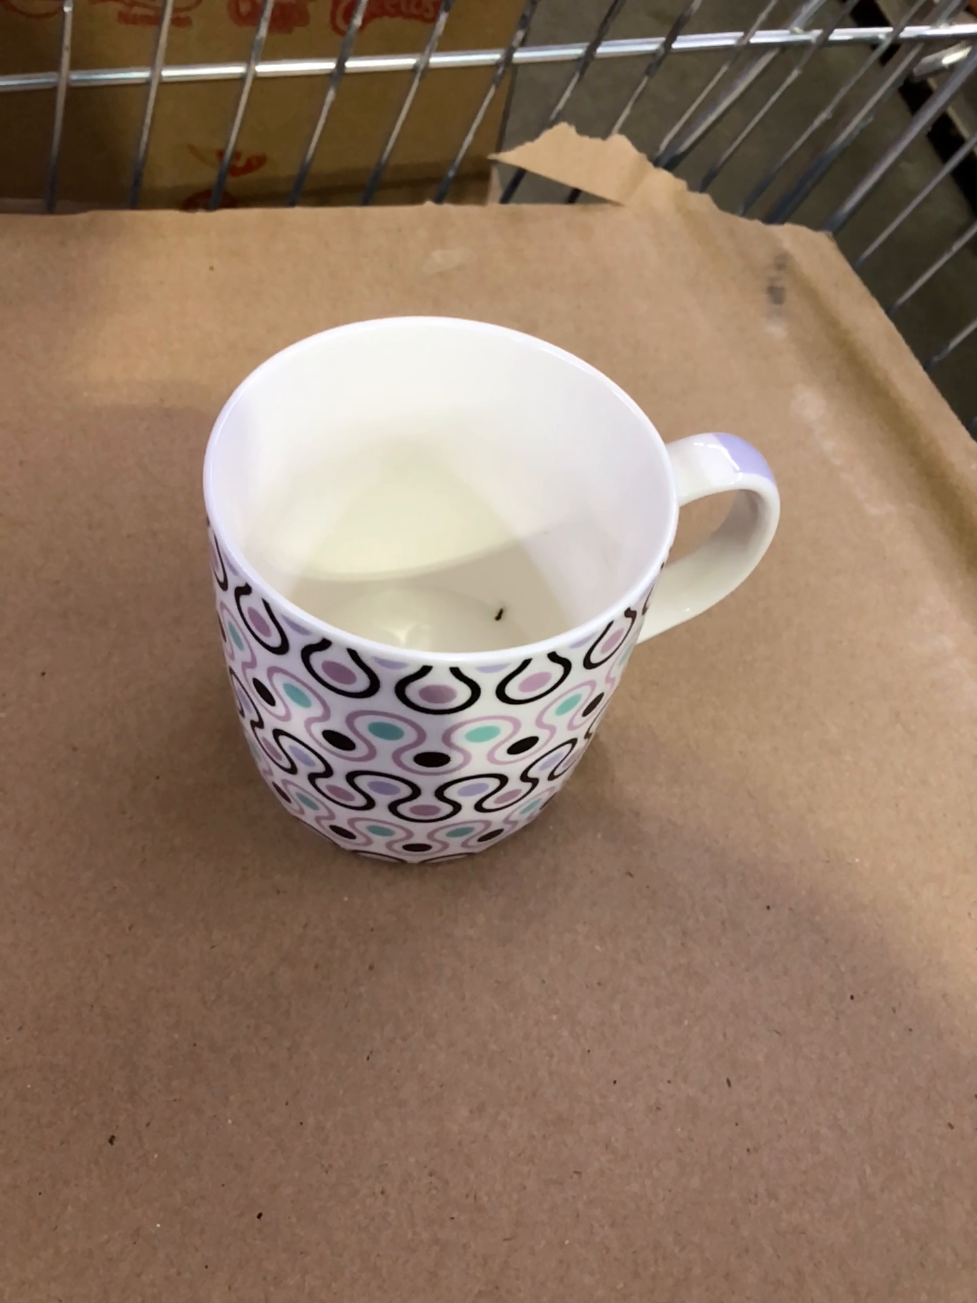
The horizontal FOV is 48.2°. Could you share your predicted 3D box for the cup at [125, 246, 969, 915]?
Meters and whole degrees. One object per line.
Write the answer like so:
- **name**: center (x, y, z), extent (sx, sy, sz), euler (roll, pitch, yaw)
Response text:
- **cup**: center (0.004, -0.019, 0.244), extent (0.140, 0.090, 0.090), euler (-12, 57, -18)
